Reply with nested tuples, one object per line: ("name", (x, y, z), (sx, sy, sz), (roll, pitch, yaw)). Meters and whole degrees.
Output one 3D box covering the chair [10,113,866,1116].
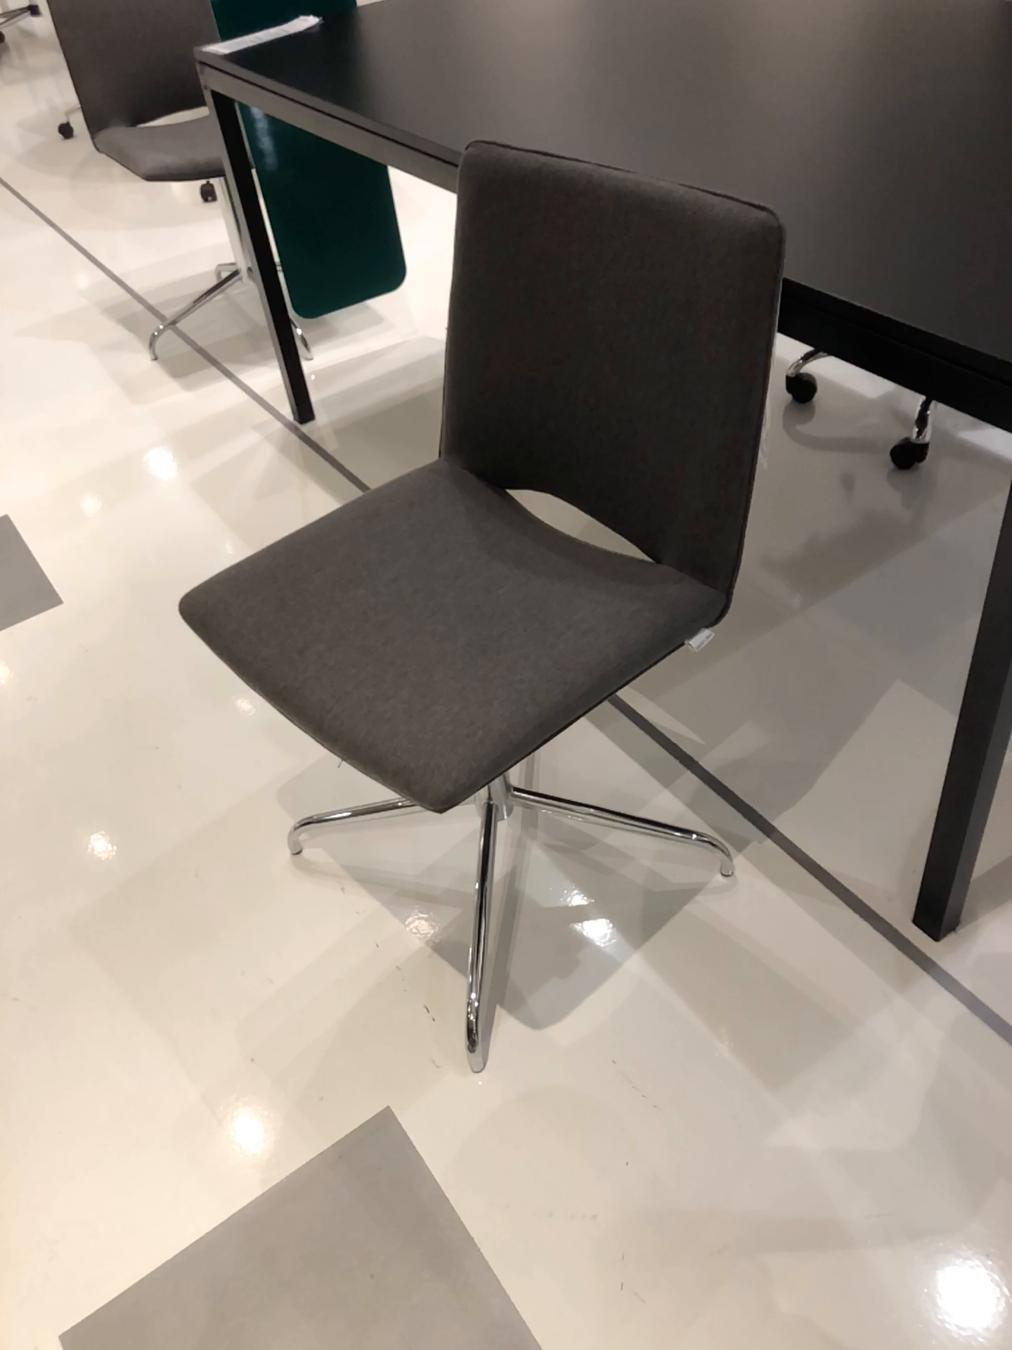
("chair", (-0.025, -0.070, 1.251), (0.552, 0.834, 0.522), (-36, 49, -28))
